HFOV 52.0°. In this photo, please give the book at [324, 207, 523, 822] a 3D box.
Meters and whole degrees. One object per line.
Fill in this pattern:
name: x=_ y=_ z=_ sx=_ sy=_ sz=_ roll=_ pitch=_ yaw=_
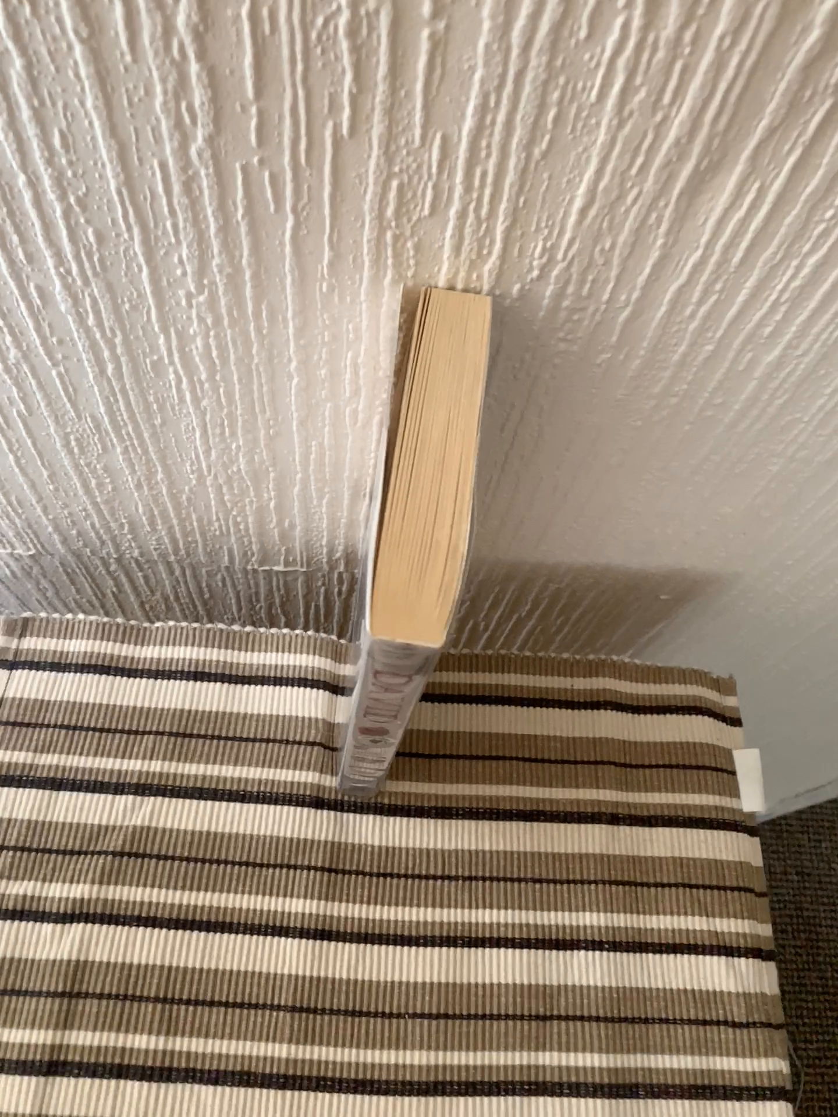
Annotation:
book: x=-0.005 y=0.003 z=0.359 sx=0.040 sy=0.219 sz=0.171 roll=8 pitch=64 yaw=-4
